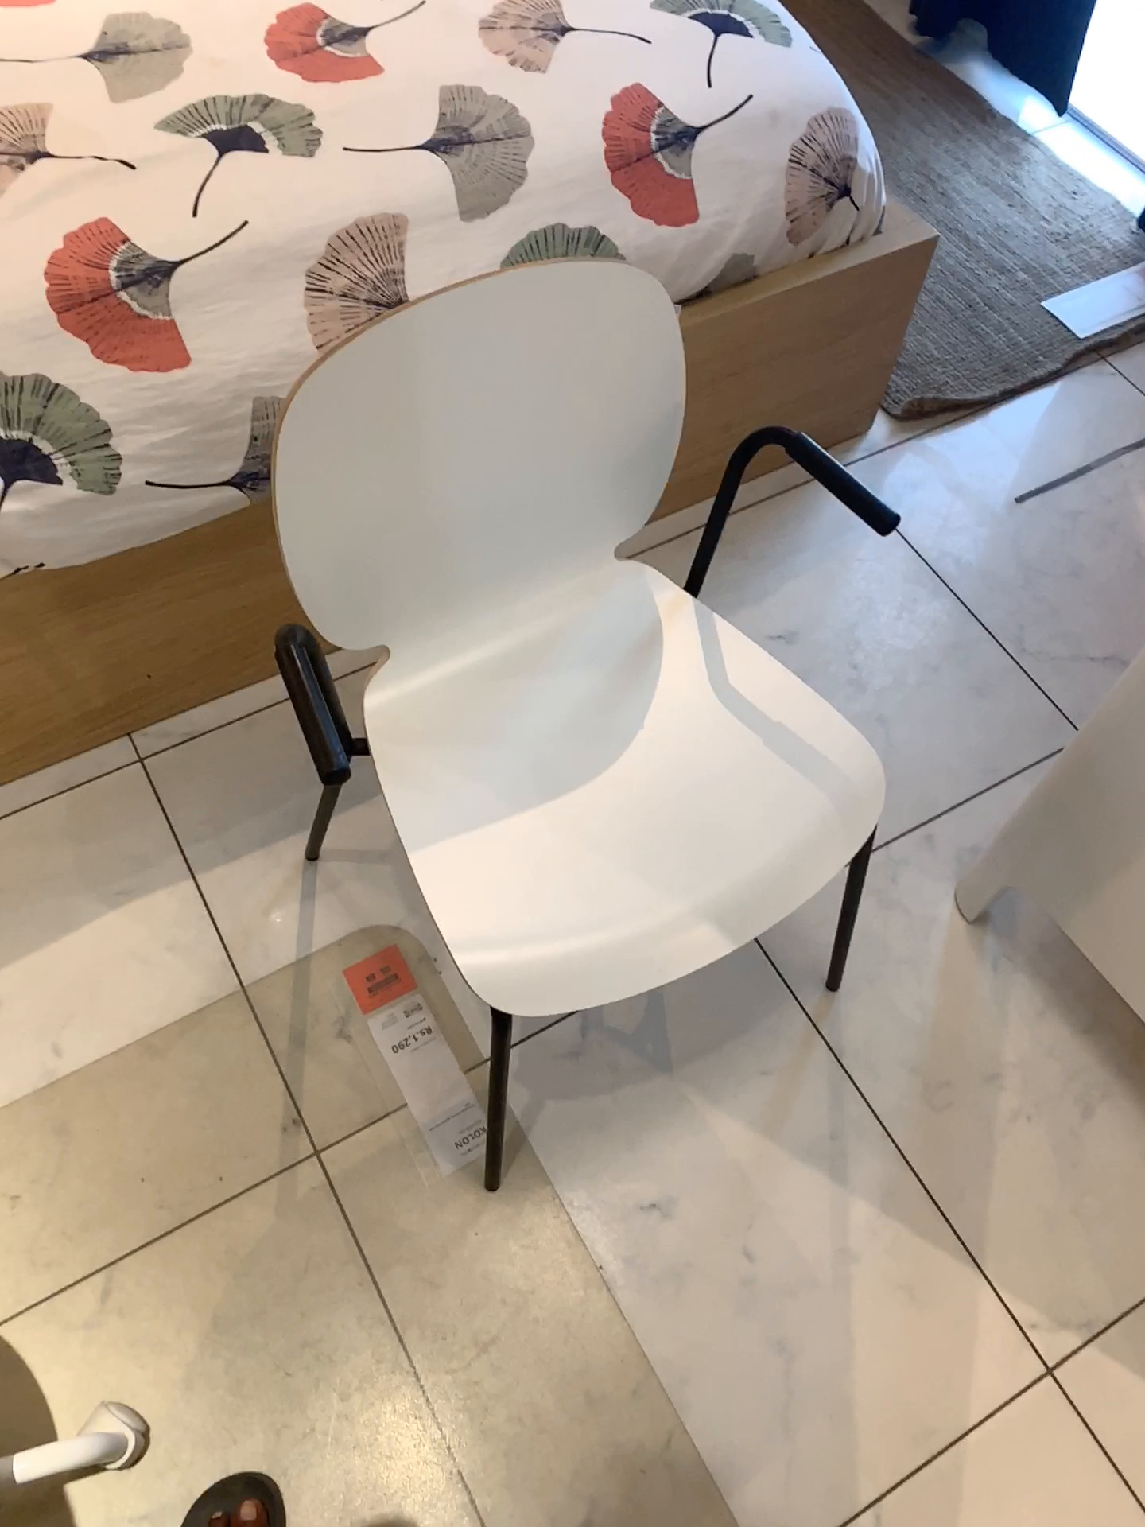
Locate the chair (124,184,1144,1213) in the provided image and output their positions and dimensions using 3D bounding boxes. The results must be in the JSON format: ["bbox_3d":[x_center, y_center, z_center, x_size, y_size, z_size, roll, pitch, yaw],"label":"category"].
[{"bbox_3d":[0.021,-0.017,1.134,0.550,0.699,0.541,-25,64,-17],"label":"chair"}]
